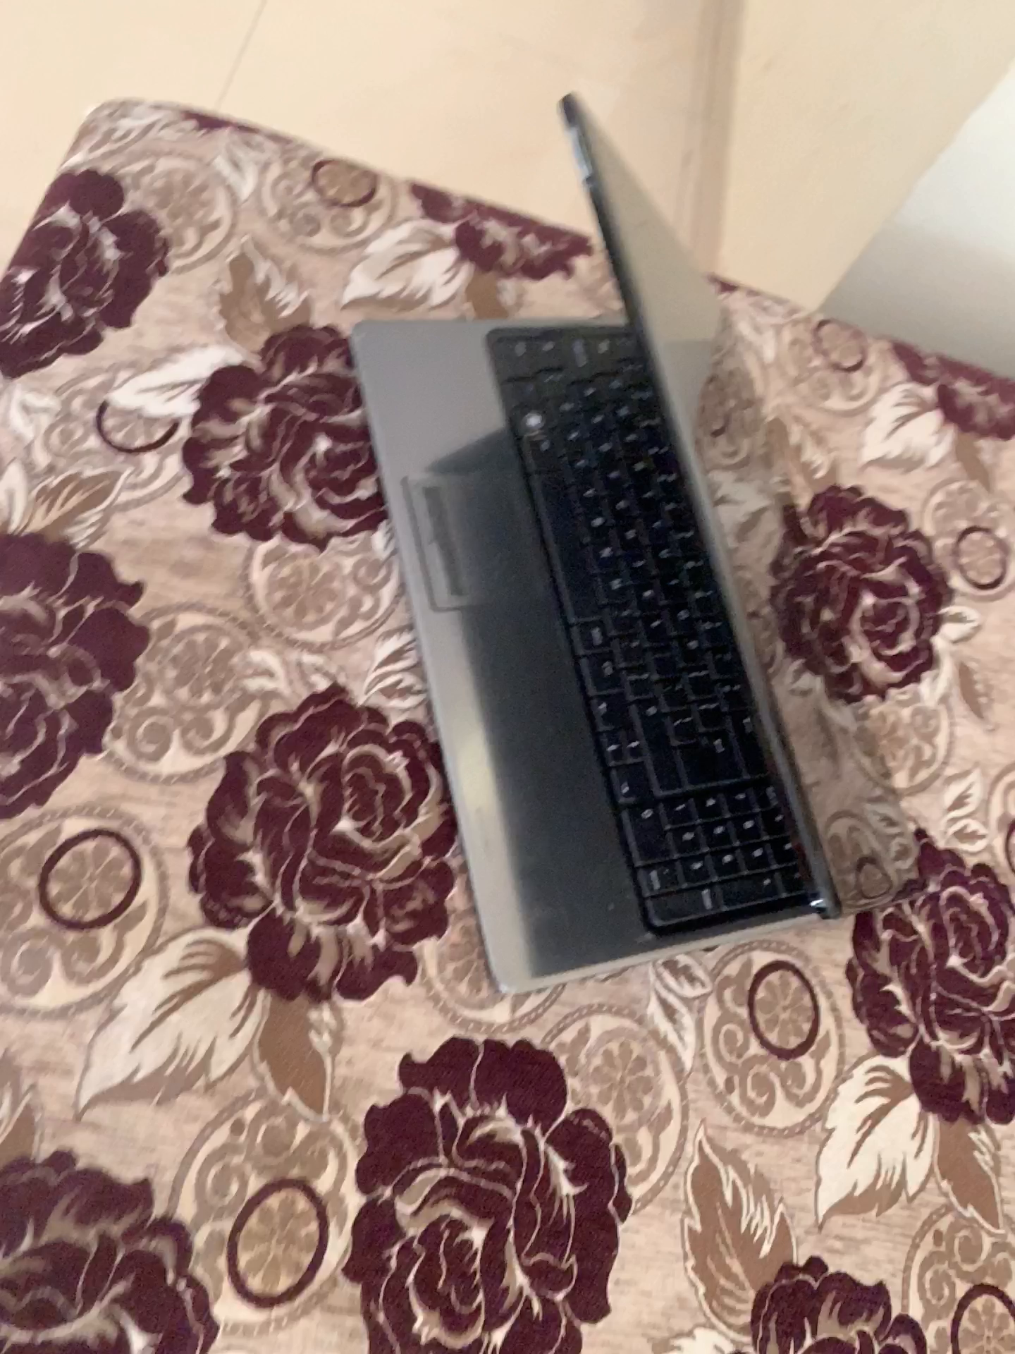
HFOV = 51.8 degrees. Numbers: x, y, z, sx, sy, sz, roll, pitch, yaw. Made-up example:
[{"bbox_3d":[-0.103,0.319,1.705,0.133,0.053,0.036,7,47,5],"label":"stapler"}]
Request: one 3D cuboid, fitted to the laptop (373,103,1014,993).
[{"bbox_3d":[0.088,-0.067,0.504,0.220,0.154,0.364,-7,70,-20],"label":"laptop"}]
